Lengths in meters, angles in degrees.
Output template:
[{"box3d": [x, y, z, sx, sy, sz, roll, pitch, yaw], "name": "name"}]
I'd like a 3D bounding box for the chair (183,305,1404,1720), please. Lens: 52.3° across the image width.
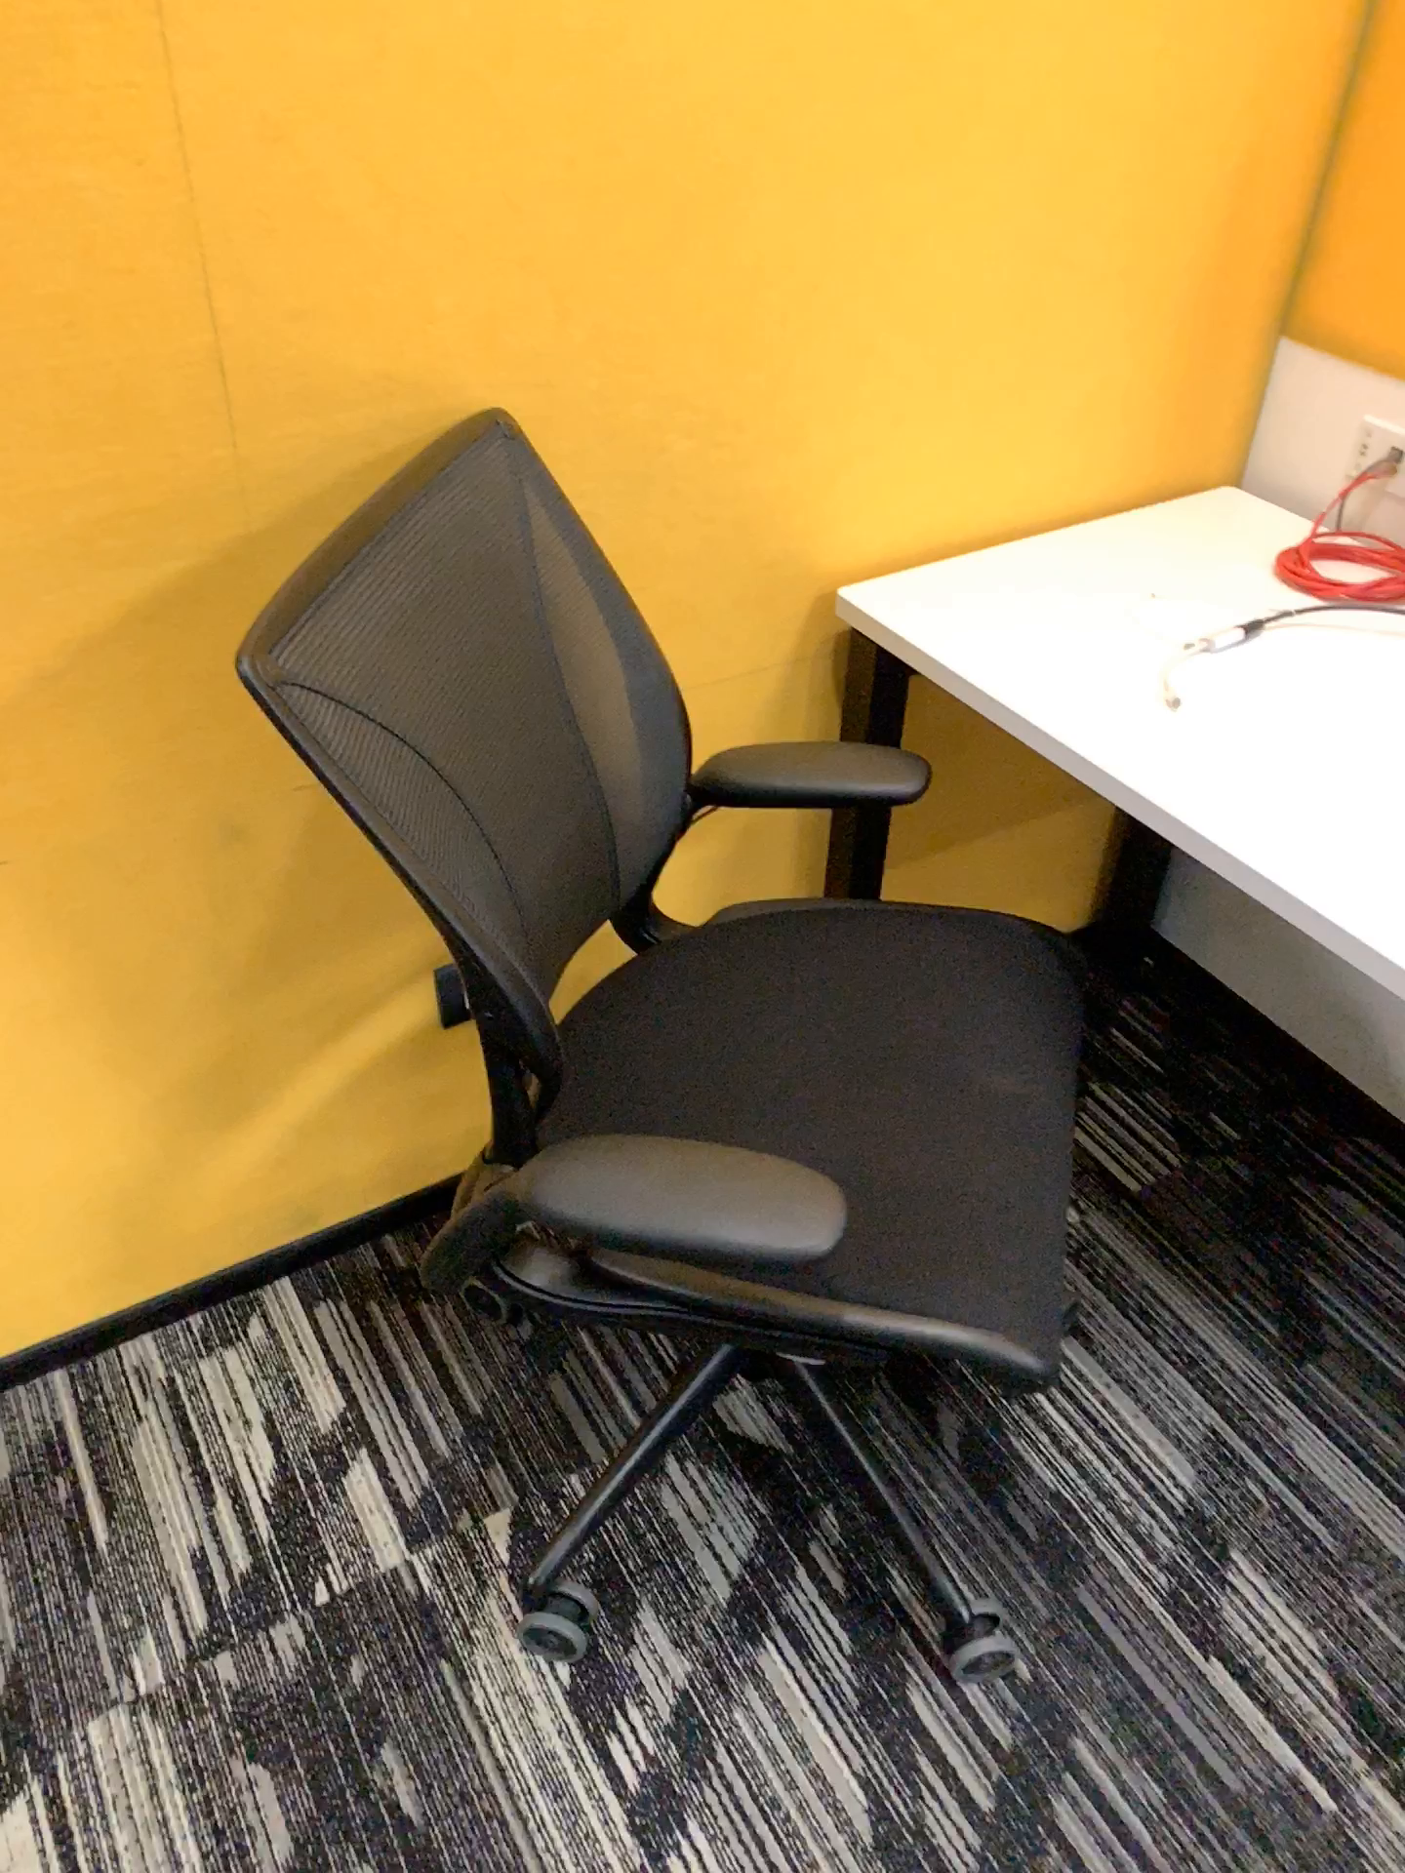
[{"box3d": [0.087, 0.058, 1.057, 0.570, 0.813, 0.545, 8, 38, 7], "name": "chair"}]
